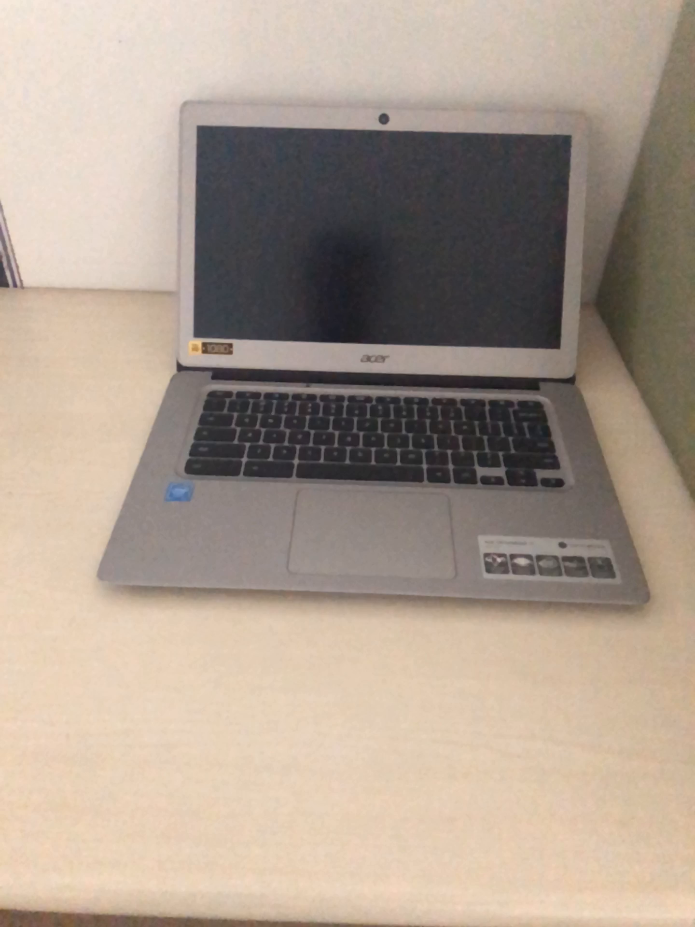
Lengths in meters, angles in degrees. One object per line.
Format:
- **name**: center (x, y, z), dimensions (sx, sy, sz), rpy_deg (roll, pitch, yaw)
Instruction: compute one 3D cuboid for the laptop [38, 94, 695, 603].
- **laptop**: center (0.021, -0.111, 0.538), dimensions (0.322, 0.168, 0.368), rpy_deg (3, 41, 0)
